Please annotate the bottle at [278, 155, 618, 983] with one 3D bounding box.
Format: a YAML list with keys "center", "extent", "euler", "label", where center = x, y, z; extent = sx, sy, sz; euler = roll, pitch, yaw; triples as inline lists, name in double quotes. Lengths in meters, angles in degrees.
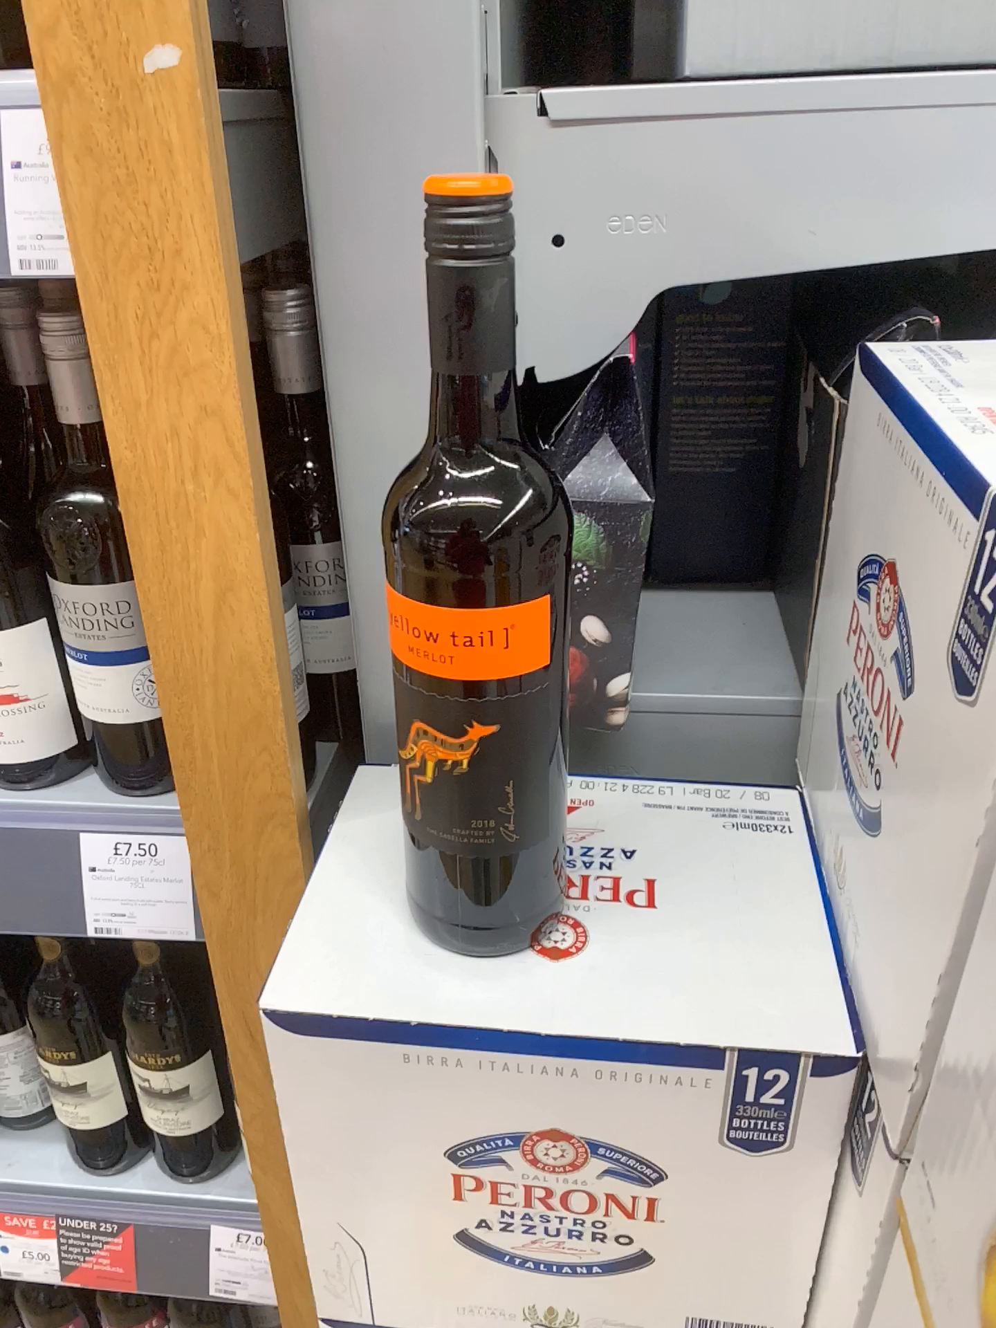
- center: [-0.010, -0.026, 0.391]
  extent: [0.078, 0.297, 0.077]
  euler: [-1, 28, 1]
  label: "bottle"
